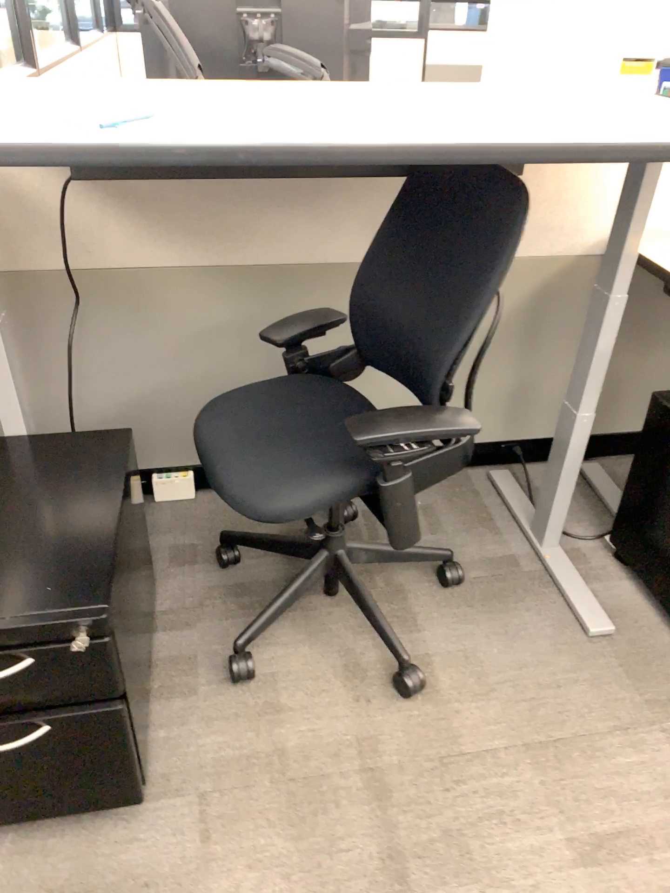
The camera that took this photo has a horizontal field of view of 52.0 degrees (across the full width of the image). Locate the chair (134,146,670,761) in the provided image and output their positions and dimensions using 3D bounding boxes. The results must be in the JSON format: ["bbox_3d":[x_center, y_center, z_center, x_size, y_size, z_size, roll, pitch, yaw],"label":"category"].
[{"bbox_3d":[0.061,-0.069,1.490,0.760,0.954,0.785,-10,35,-21],"label":"chair"}]
